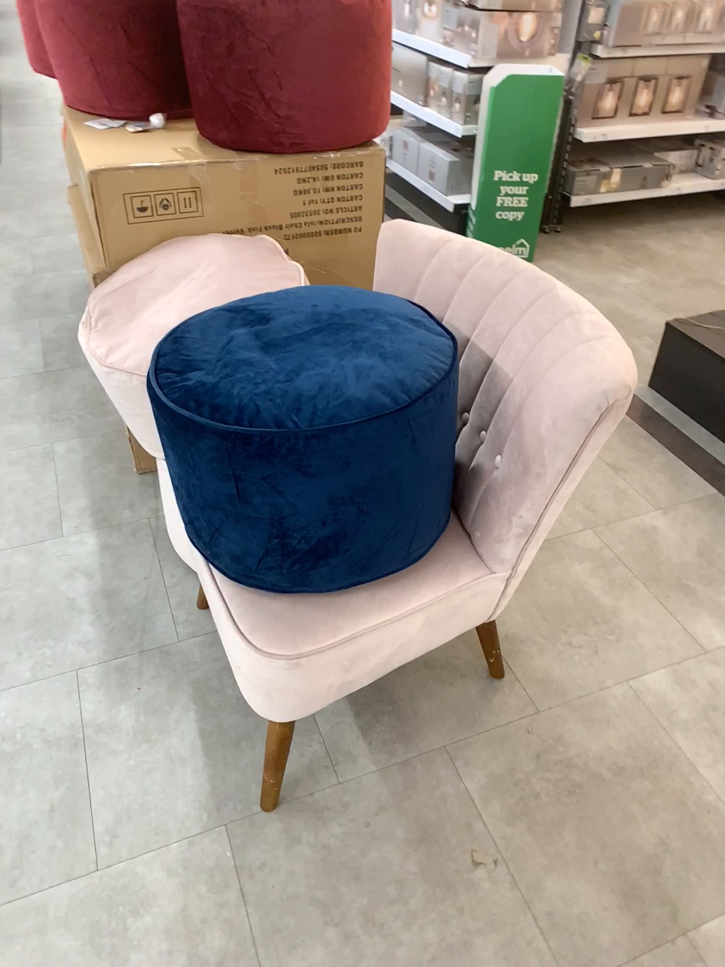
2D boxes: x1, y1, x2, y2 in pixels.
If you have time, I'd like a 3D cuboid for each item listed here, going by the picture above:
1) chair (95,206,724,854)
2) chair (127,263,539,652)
[{"bbox_3d":[0.004,0.028,1.352,0.731,0.772,0.696,-13,40,-18],"label":"chair"},{"bbox_3d":[-0.078,-0.084,1.238,0.493,0.340,0.499,-13,40,-18],"label":"chair"}]
